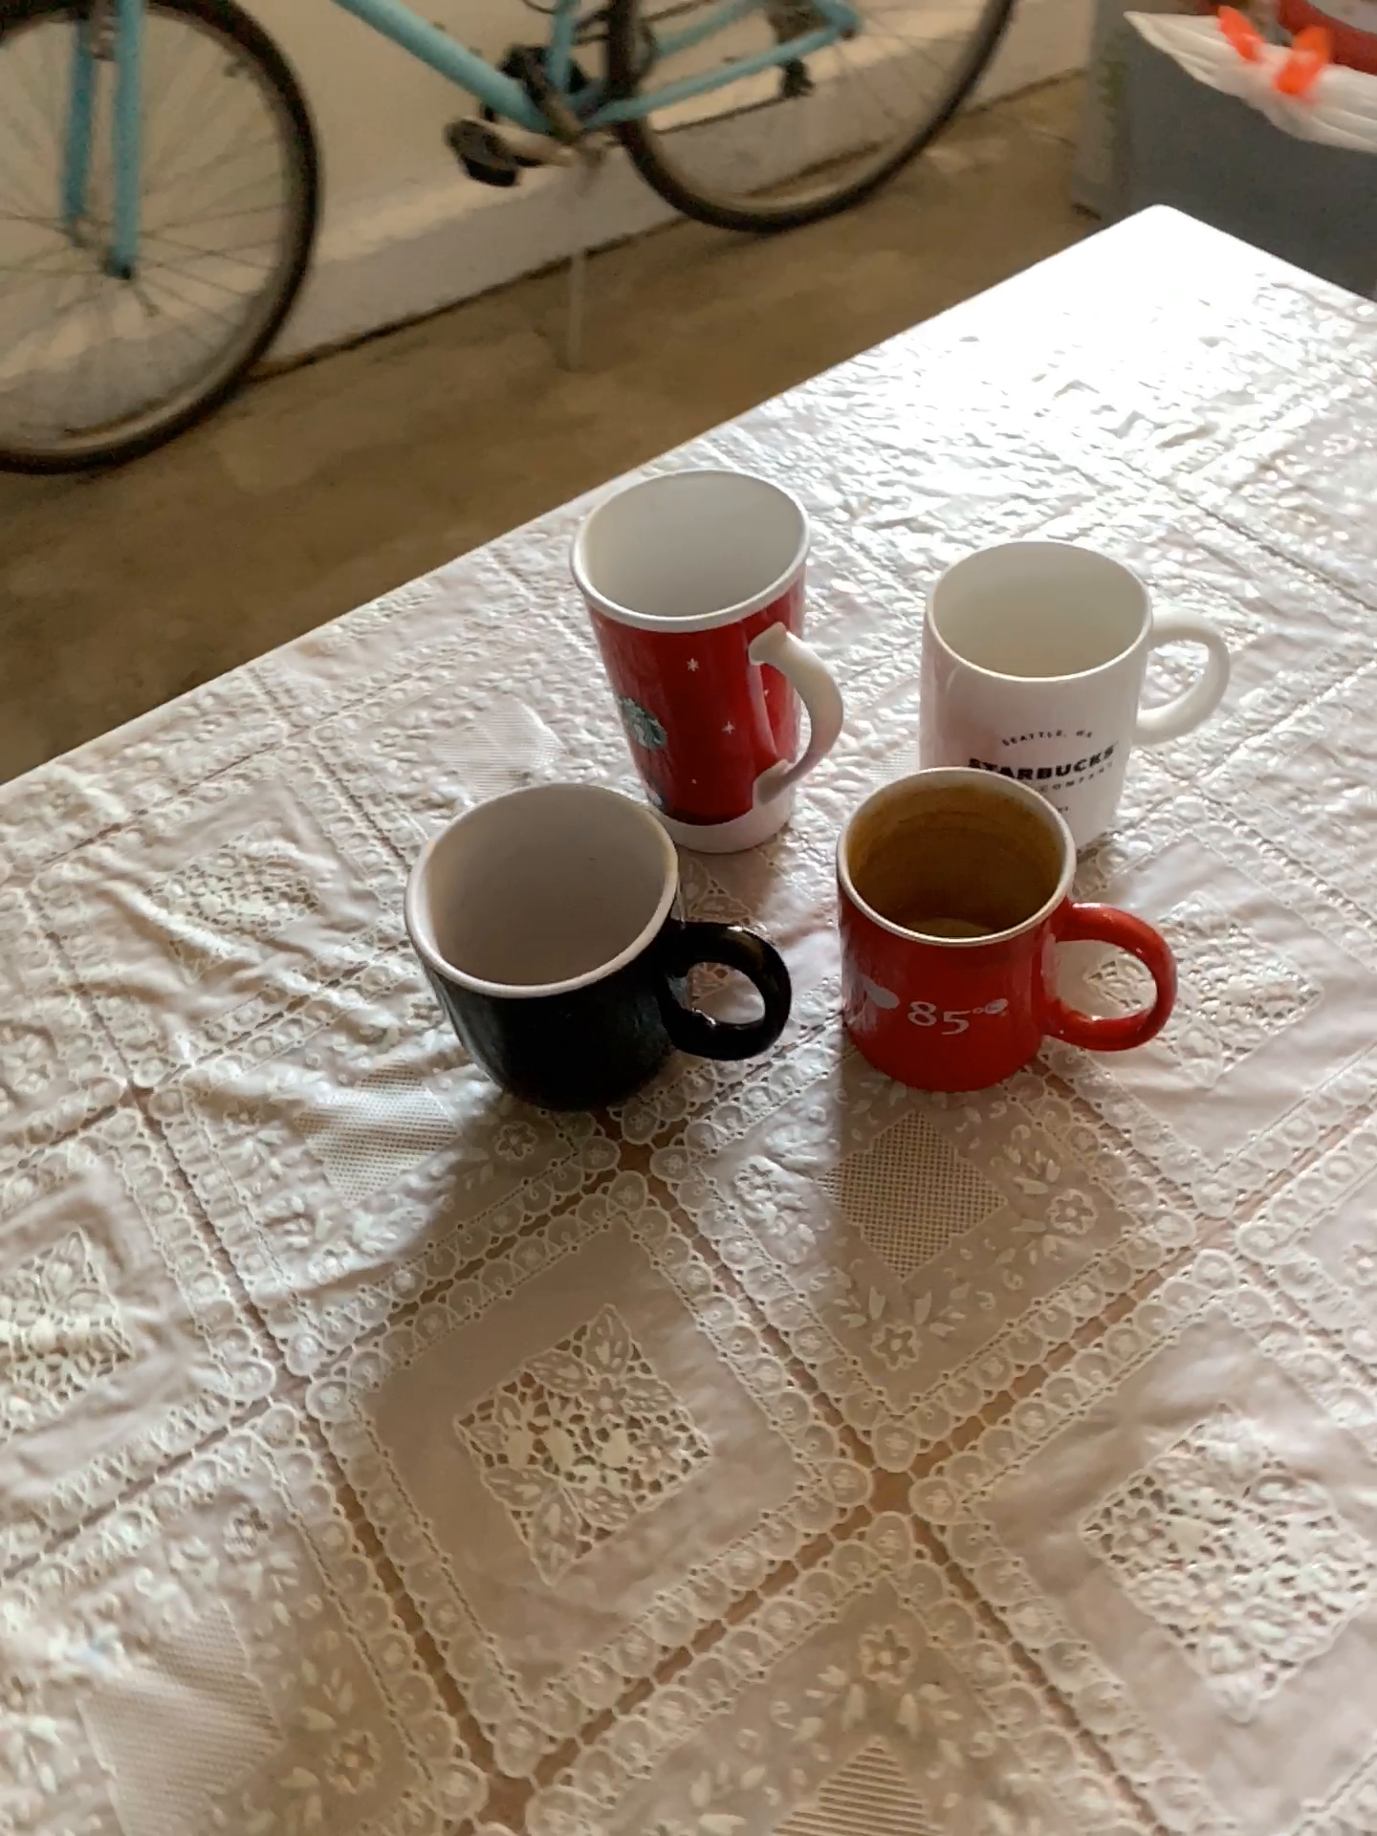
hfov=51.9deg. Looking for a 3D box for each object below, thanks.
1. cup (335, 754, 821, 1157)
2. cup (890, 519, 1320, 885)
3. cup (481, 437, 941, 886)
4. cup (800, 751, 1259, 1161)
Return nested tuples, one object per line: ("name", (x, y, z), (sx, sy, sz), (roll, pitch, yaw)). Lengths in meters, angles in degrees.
("cup", (-0.035, 0.013, 0.542), (0.150, 0.090, 0.100), (8, 54, 14))
("cup", (0.157, -0.086, 0.569), (0.140, 0.090, 0.100), (-4, 52, 5))
("cup", (0.011, -0.104, 0.560), (0.140, 0.090, 0.100), (32, 62, 28))
("cup", (0.113, 0.012, 0.481), (0.130, 0.090, 0.080), (10, 54, 15))
